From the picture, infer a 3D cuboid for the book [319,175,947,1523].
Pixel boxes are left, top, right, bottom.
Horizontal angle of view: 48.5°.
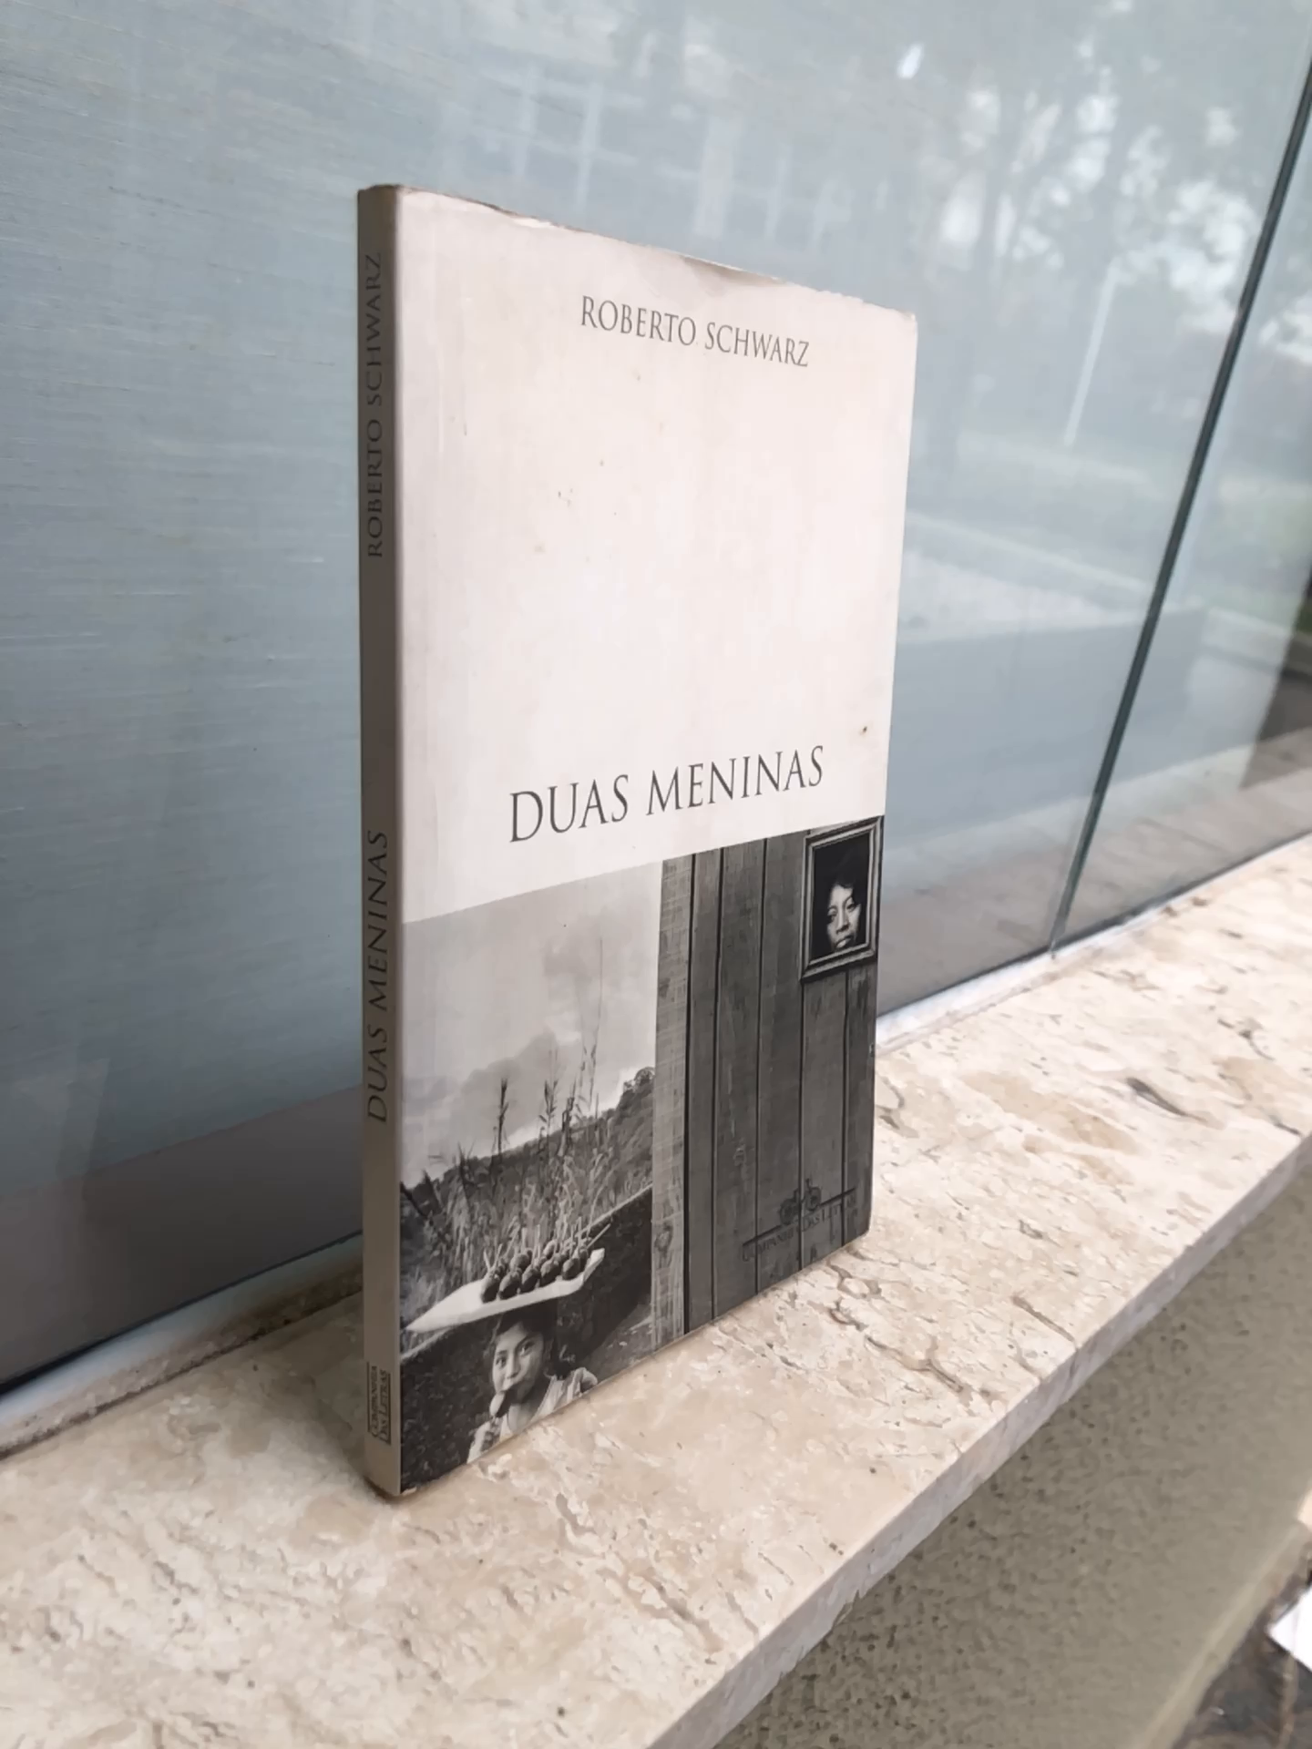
[{"bbox_3d":[0.002,-0.006,0.272,0.016,0.205,0.139,13,17,41],"label":"book"}]
